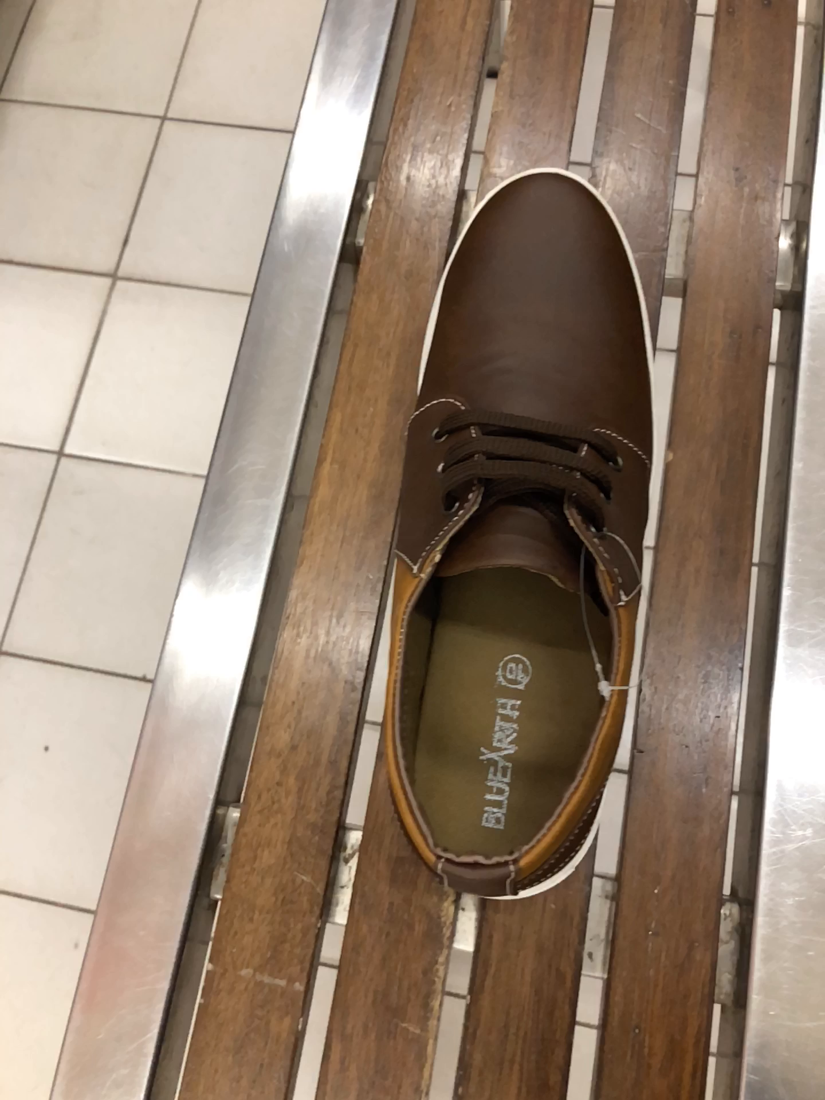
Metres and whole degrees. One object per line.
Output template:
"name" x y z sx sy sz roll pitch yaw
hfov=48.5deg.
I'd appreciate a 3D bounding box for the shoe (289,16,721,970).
"shoe" 0.043 -0.027 0.345 0.109 0.115 0.312 5 75 7
